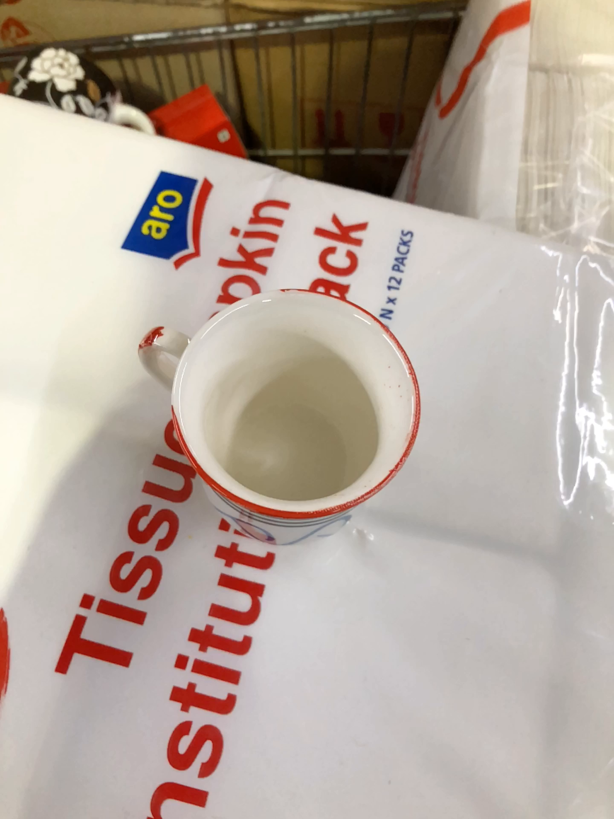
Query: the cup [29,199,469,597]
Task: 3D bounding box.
[{"bbox_3d":[-0.014,-0.001,0.204,0.090,0.060,0.070,25,70,7],"label":"cup"}]
